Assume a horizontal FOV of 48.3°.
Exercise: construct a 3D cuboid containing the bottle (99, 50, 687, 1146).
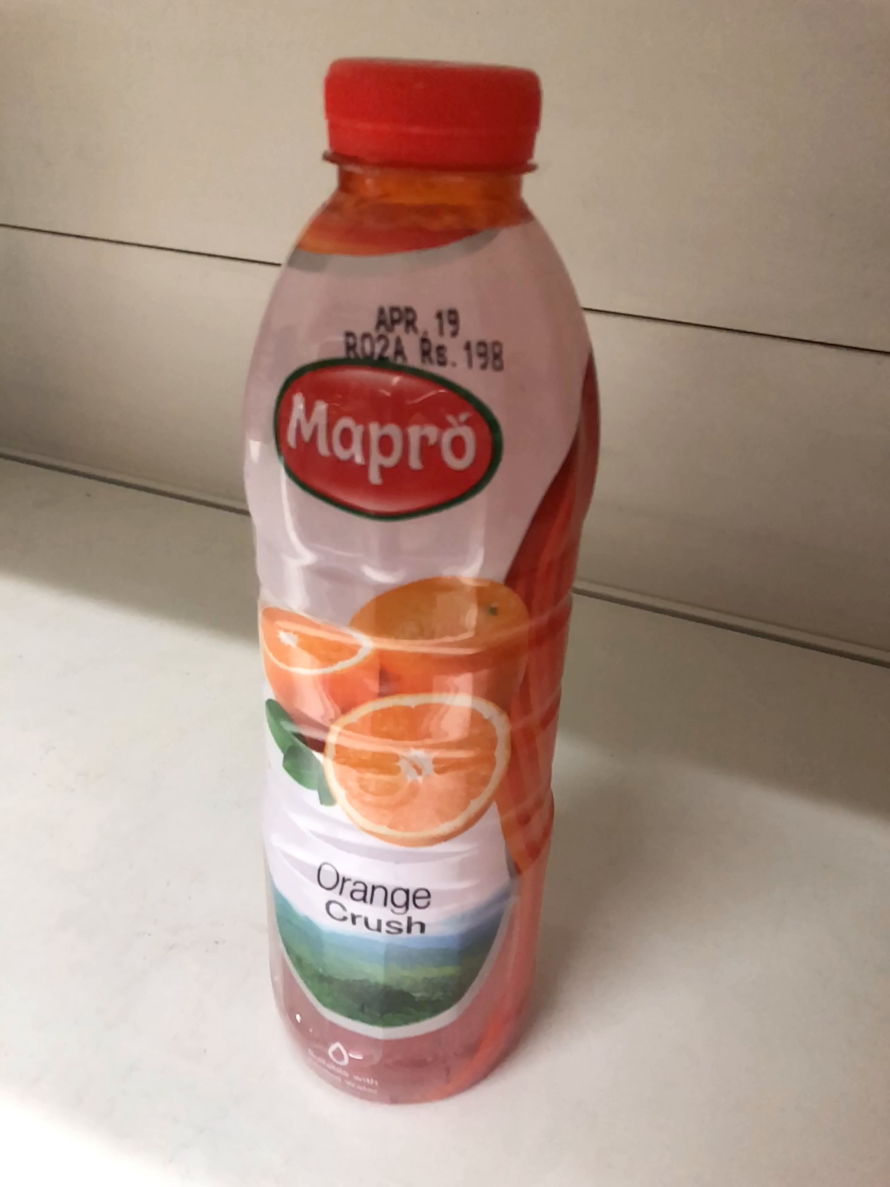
[{"bbox_3d":[-0.009,0.013,0.239,0.090,0.248,0.070,9,29,10],"label":"bottle"}]
